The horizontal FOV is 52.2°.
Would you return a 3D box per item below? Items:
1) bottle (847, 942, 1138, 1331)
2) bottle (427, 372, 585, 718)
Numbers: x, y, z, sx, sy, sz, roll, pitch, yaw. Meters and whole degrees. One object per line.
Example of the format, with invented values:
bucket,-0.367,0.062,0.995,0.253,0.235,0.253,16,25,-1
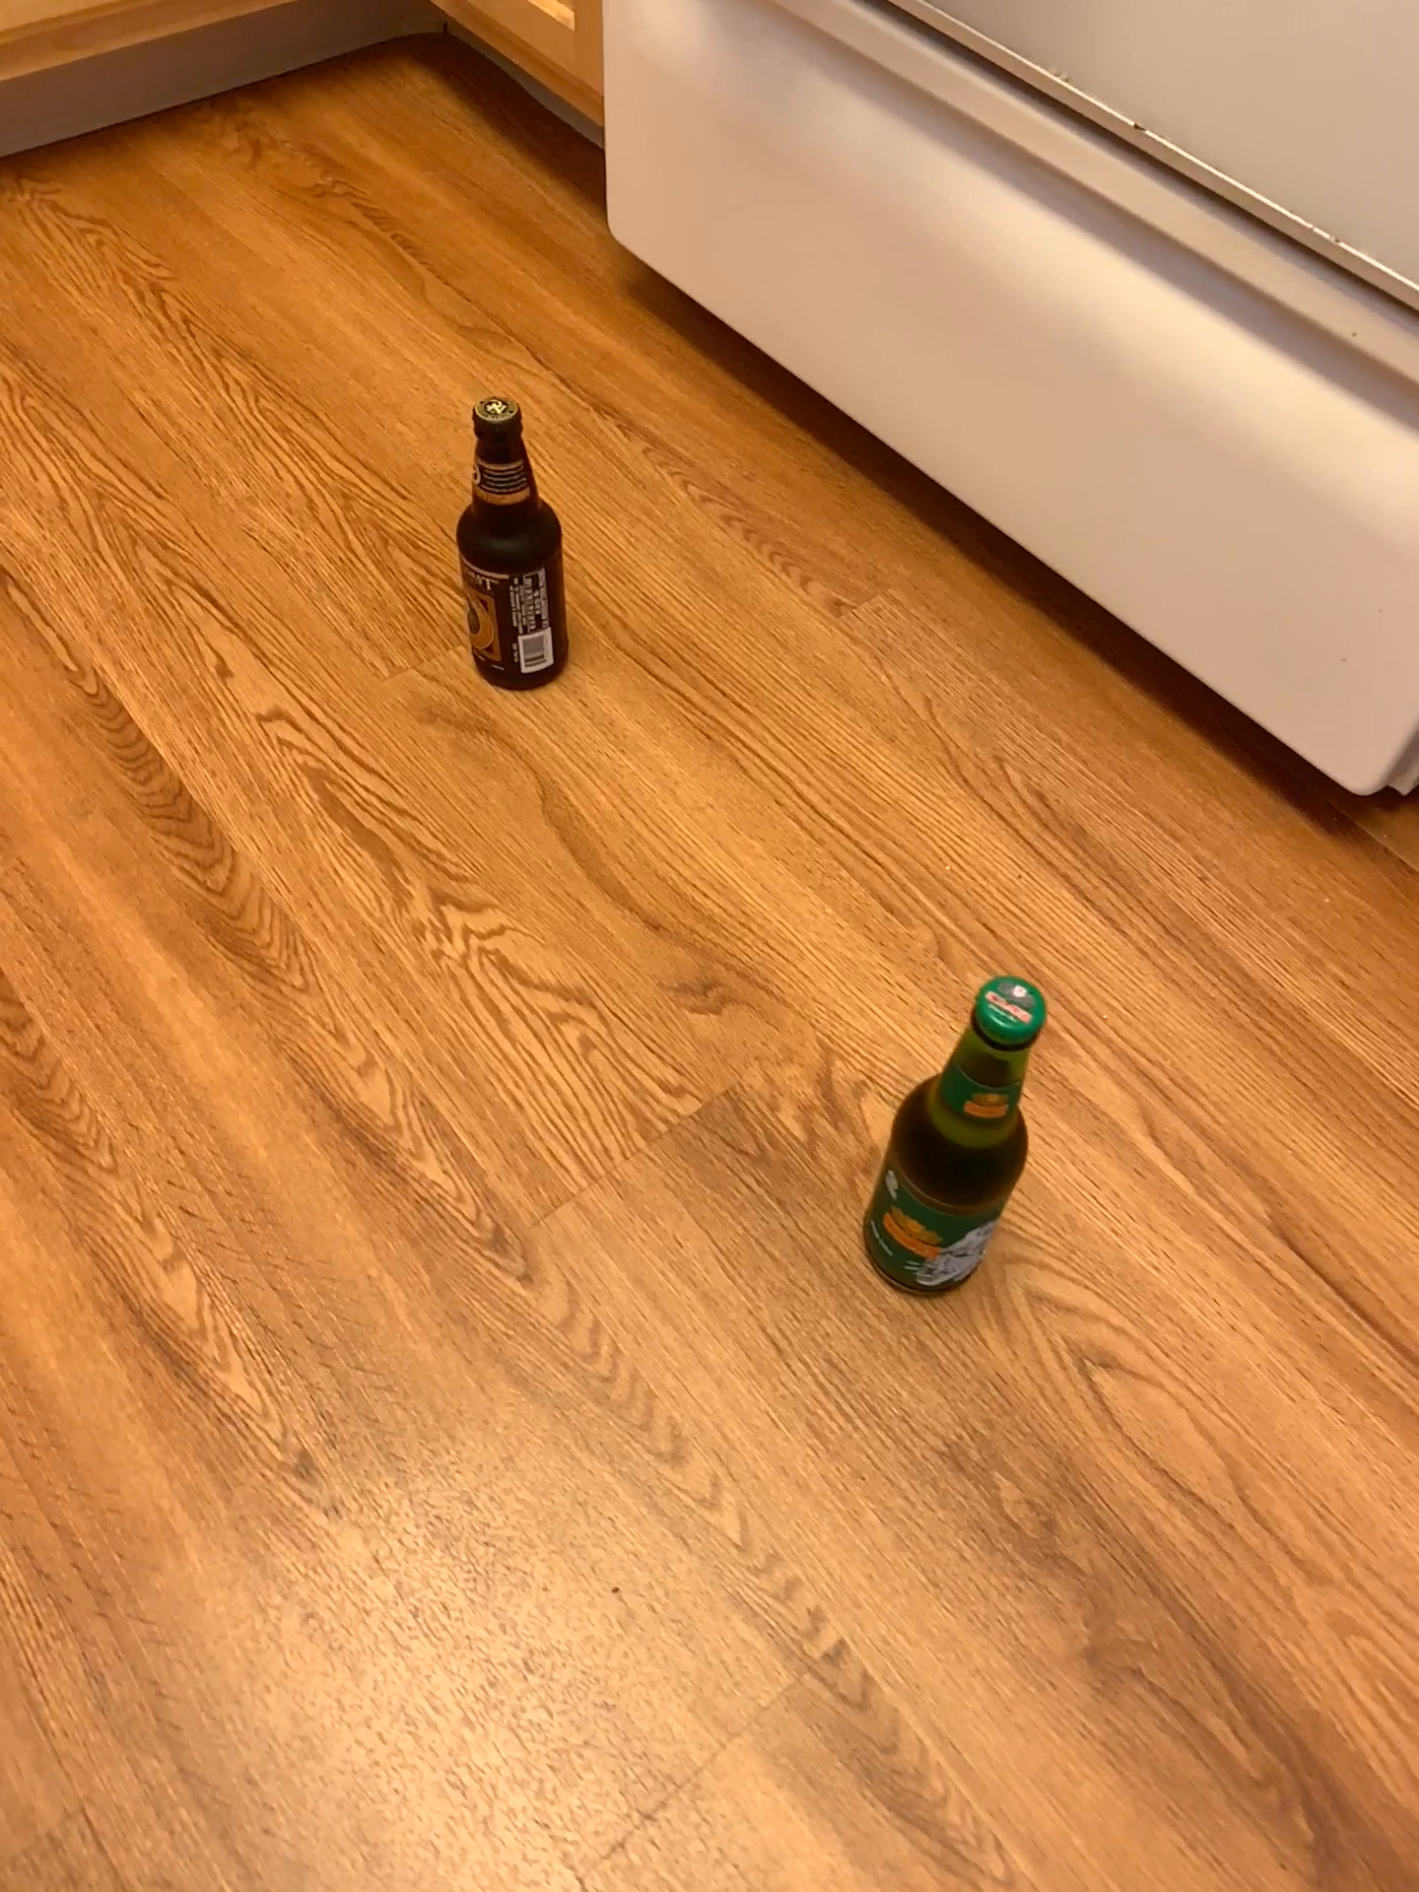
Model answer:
bottle,0.115,0.093,0.641,0.060,0.219,0.060,2,56,-2
bottle,-0.119,-0.236,0.875,0.060,0.189,0.070,-21,59,-17
